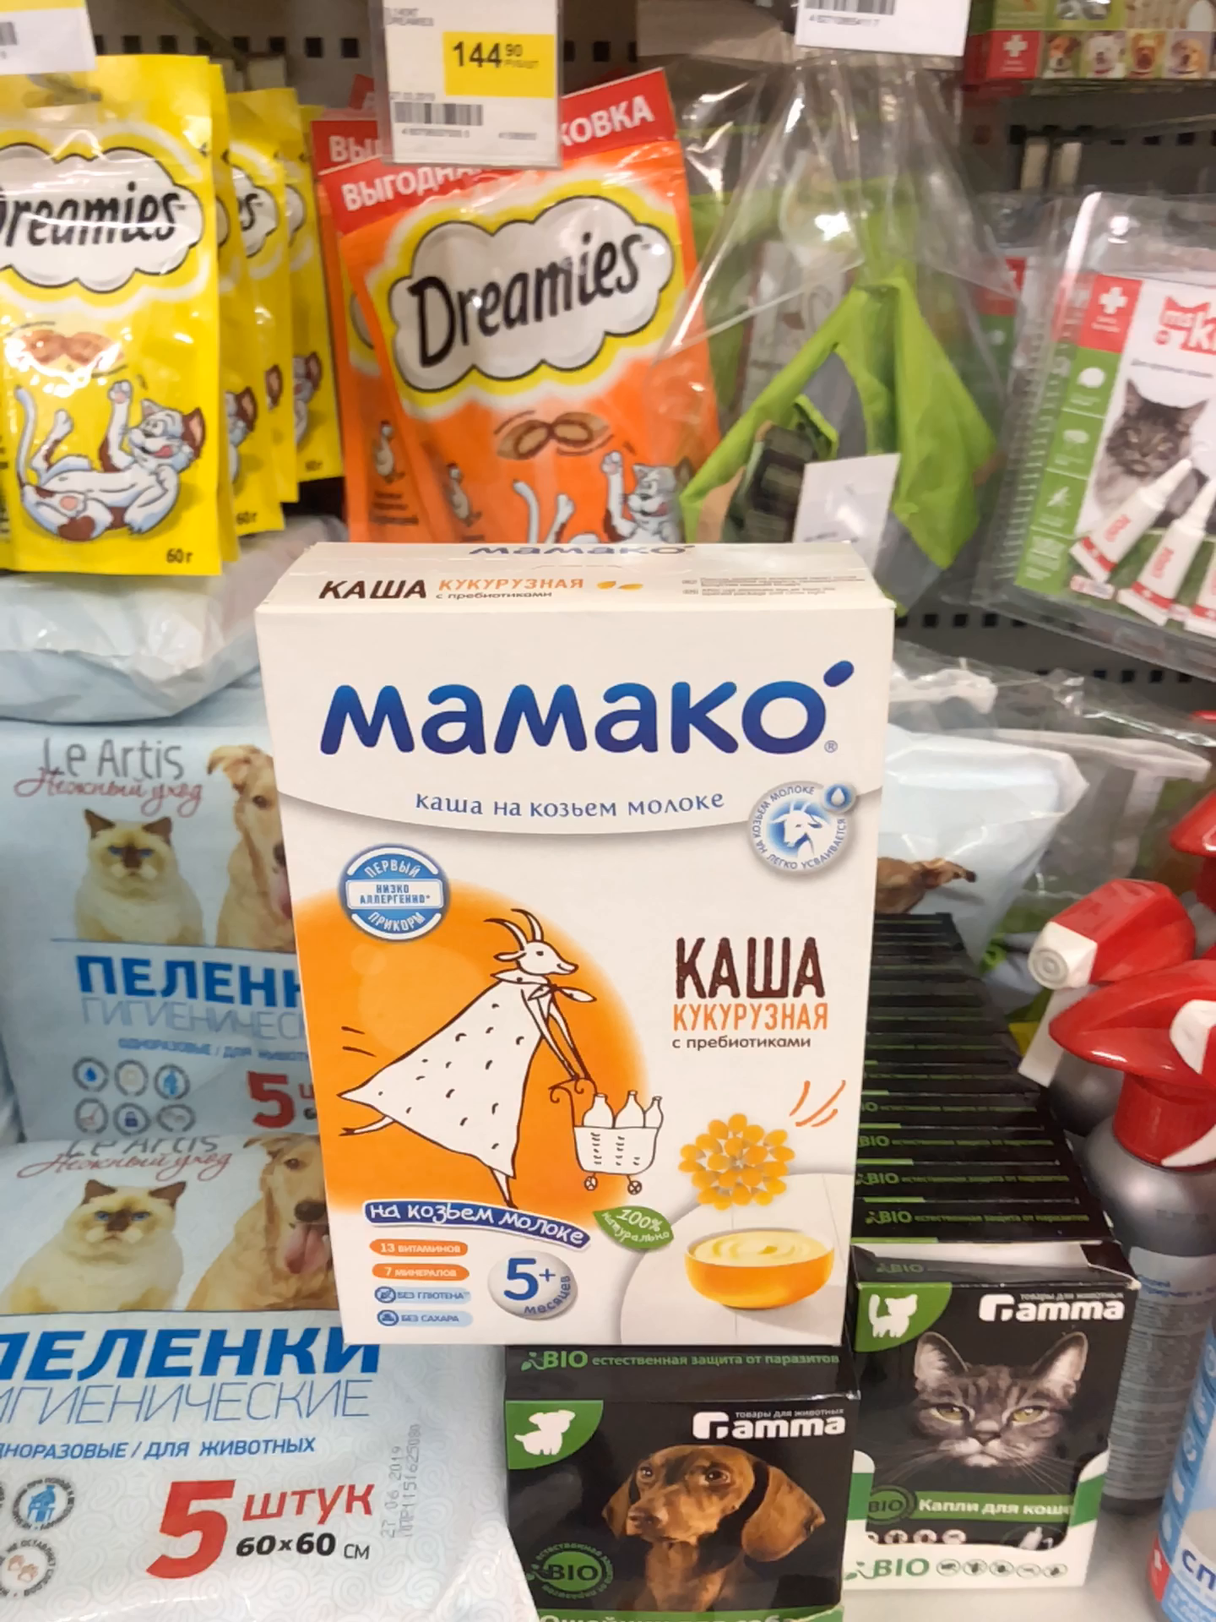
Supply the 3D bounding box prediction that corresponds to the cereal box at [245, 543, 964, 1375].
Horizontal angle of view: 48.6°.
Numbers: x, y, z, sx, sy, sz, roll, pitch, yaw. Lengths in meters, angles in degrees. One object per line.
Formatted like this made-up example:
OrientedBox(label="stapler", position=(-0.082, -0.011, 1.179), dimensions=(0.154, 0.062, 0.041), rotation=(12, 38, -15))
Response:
OrientedBox(label="cereal box", position=(-0.001, 0.041, 0.325), dimensions=(0.140, 0.199, 0.050), rotation=(0, 23, 1))
